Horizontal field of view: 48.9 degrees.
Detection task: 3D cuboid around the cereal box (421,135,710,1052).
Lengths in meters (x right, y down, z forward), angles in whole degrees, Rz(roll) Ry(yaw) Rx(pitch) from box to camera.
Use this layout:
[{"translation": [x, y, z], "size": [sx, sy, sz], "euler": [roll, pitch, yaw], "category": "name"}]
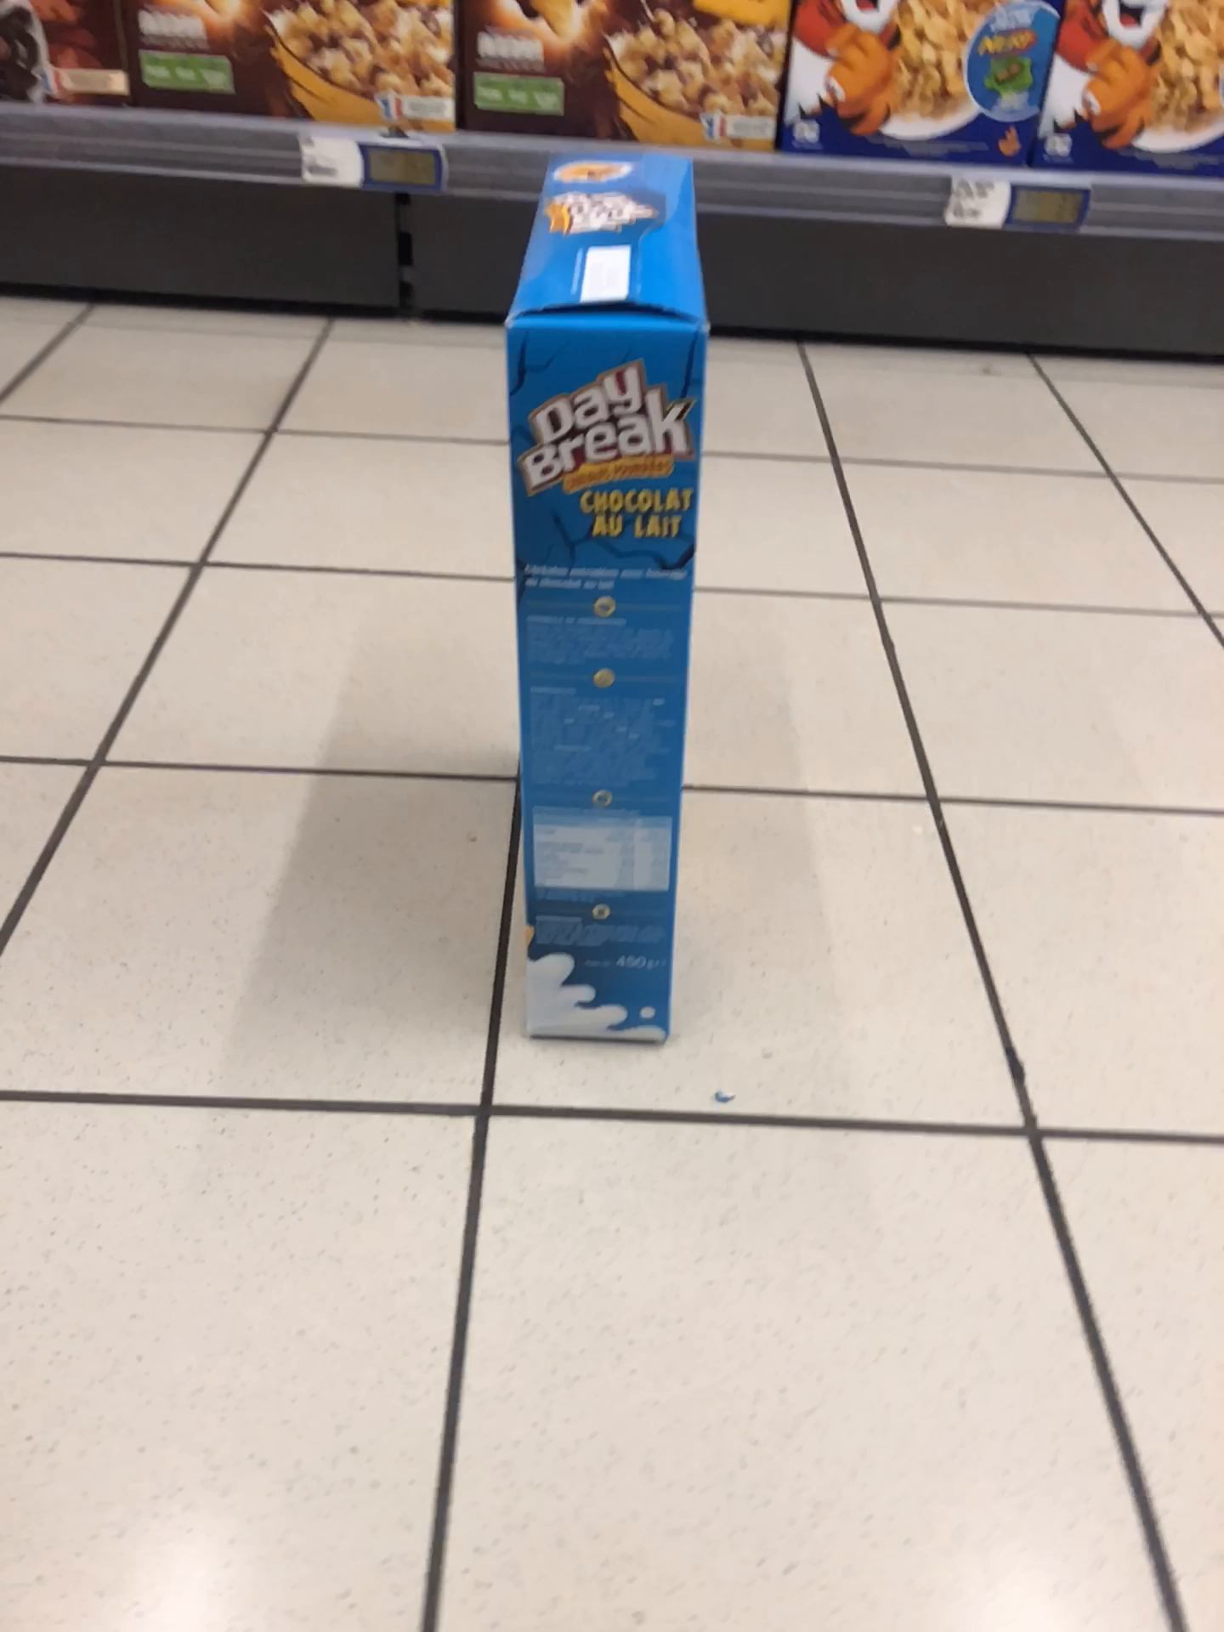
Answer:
[{"translation": [-0.012, -0.080, 0.484], "size": [0.070, 0.258, 0.201], "euler": [2, 37, 0], "category": "cereal box"}]
